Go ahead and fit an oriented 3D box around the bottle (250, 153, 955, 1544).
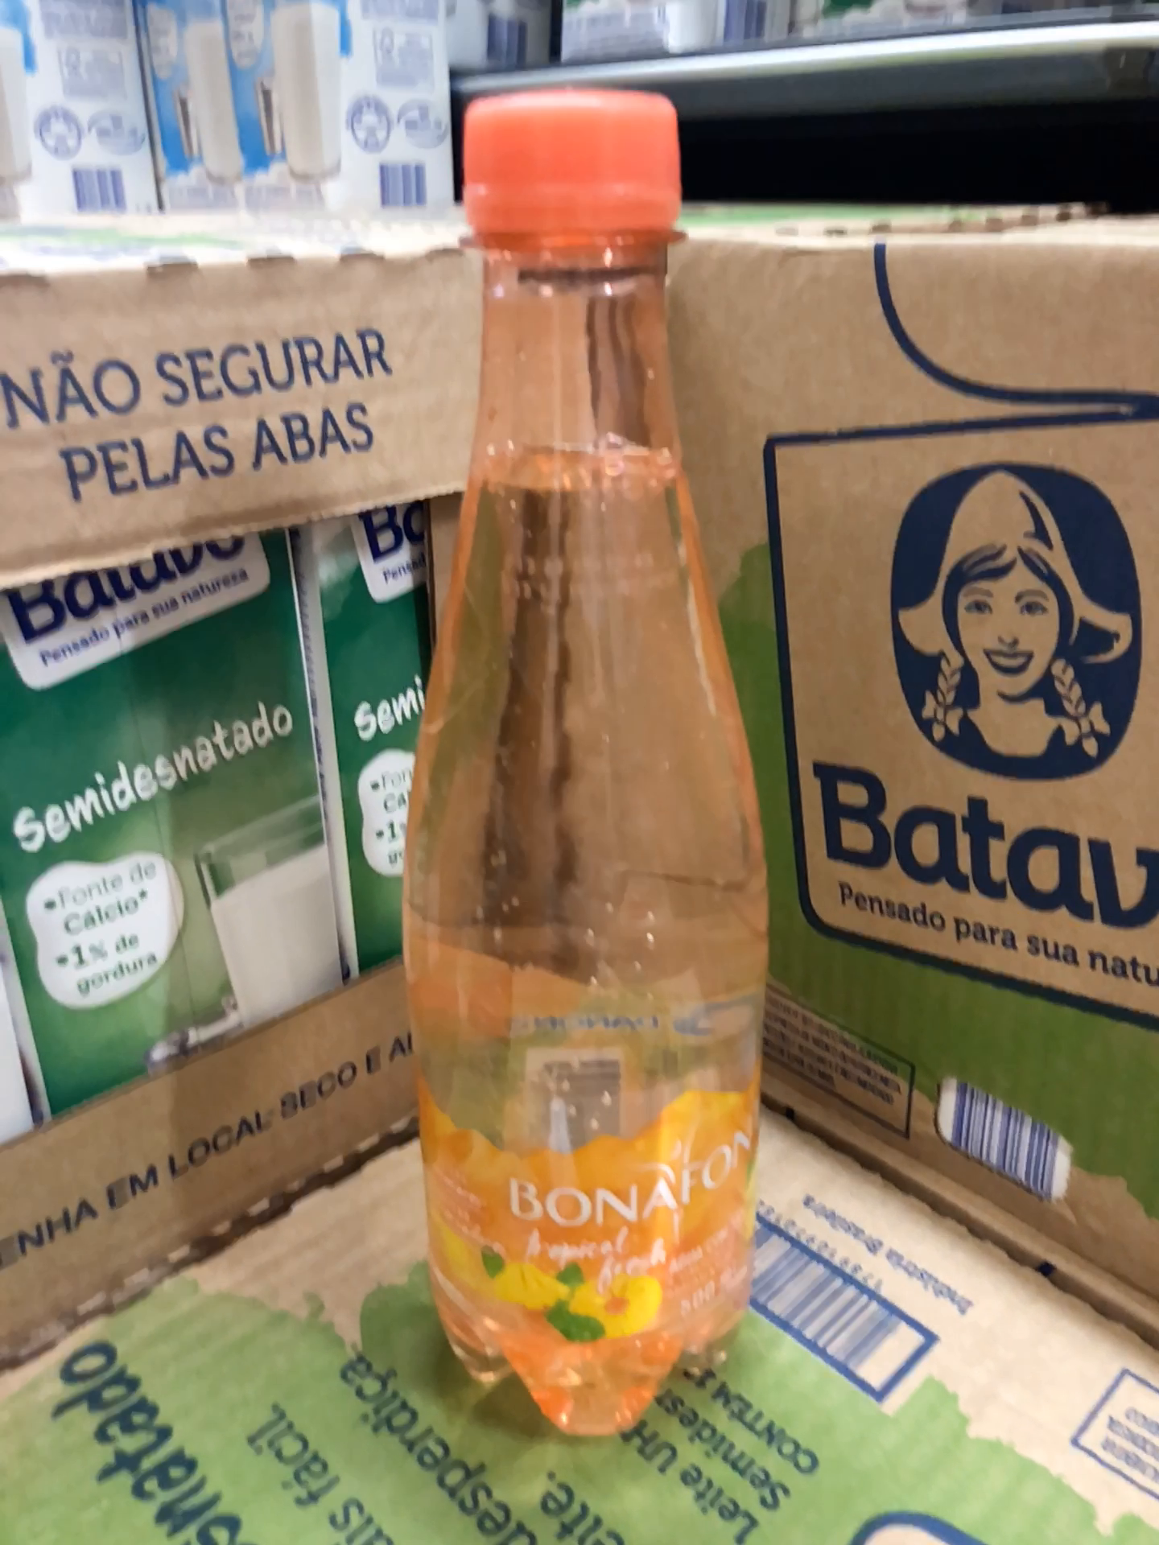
[{"bbox_3d":[-0.001,0.020,0.223,0.080,0.228,0.070,-3,24,-7],"label":"bottle"}]
